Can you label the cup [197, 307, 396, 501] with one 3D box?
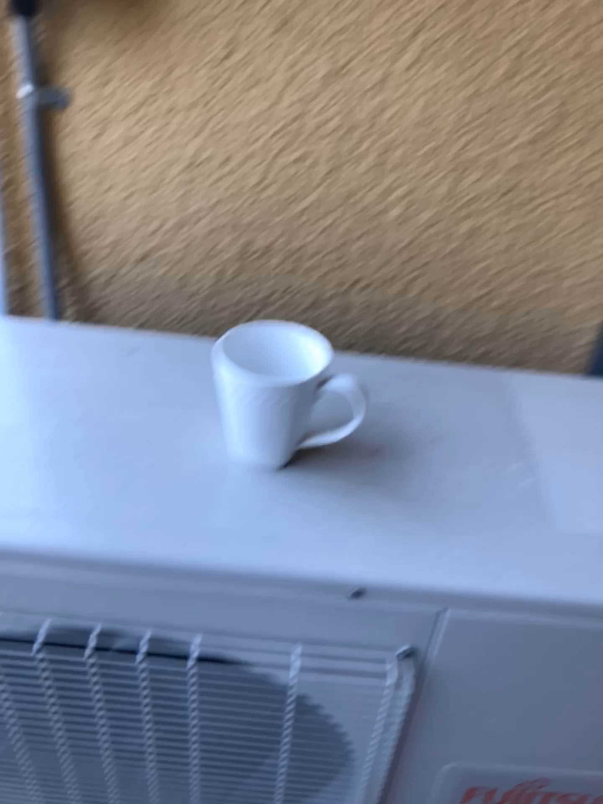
[{"bbox_3d":[-0.004,-0.002,0.576,0.140,0.100,0.100,13,34,7],"label":"cup"}]
